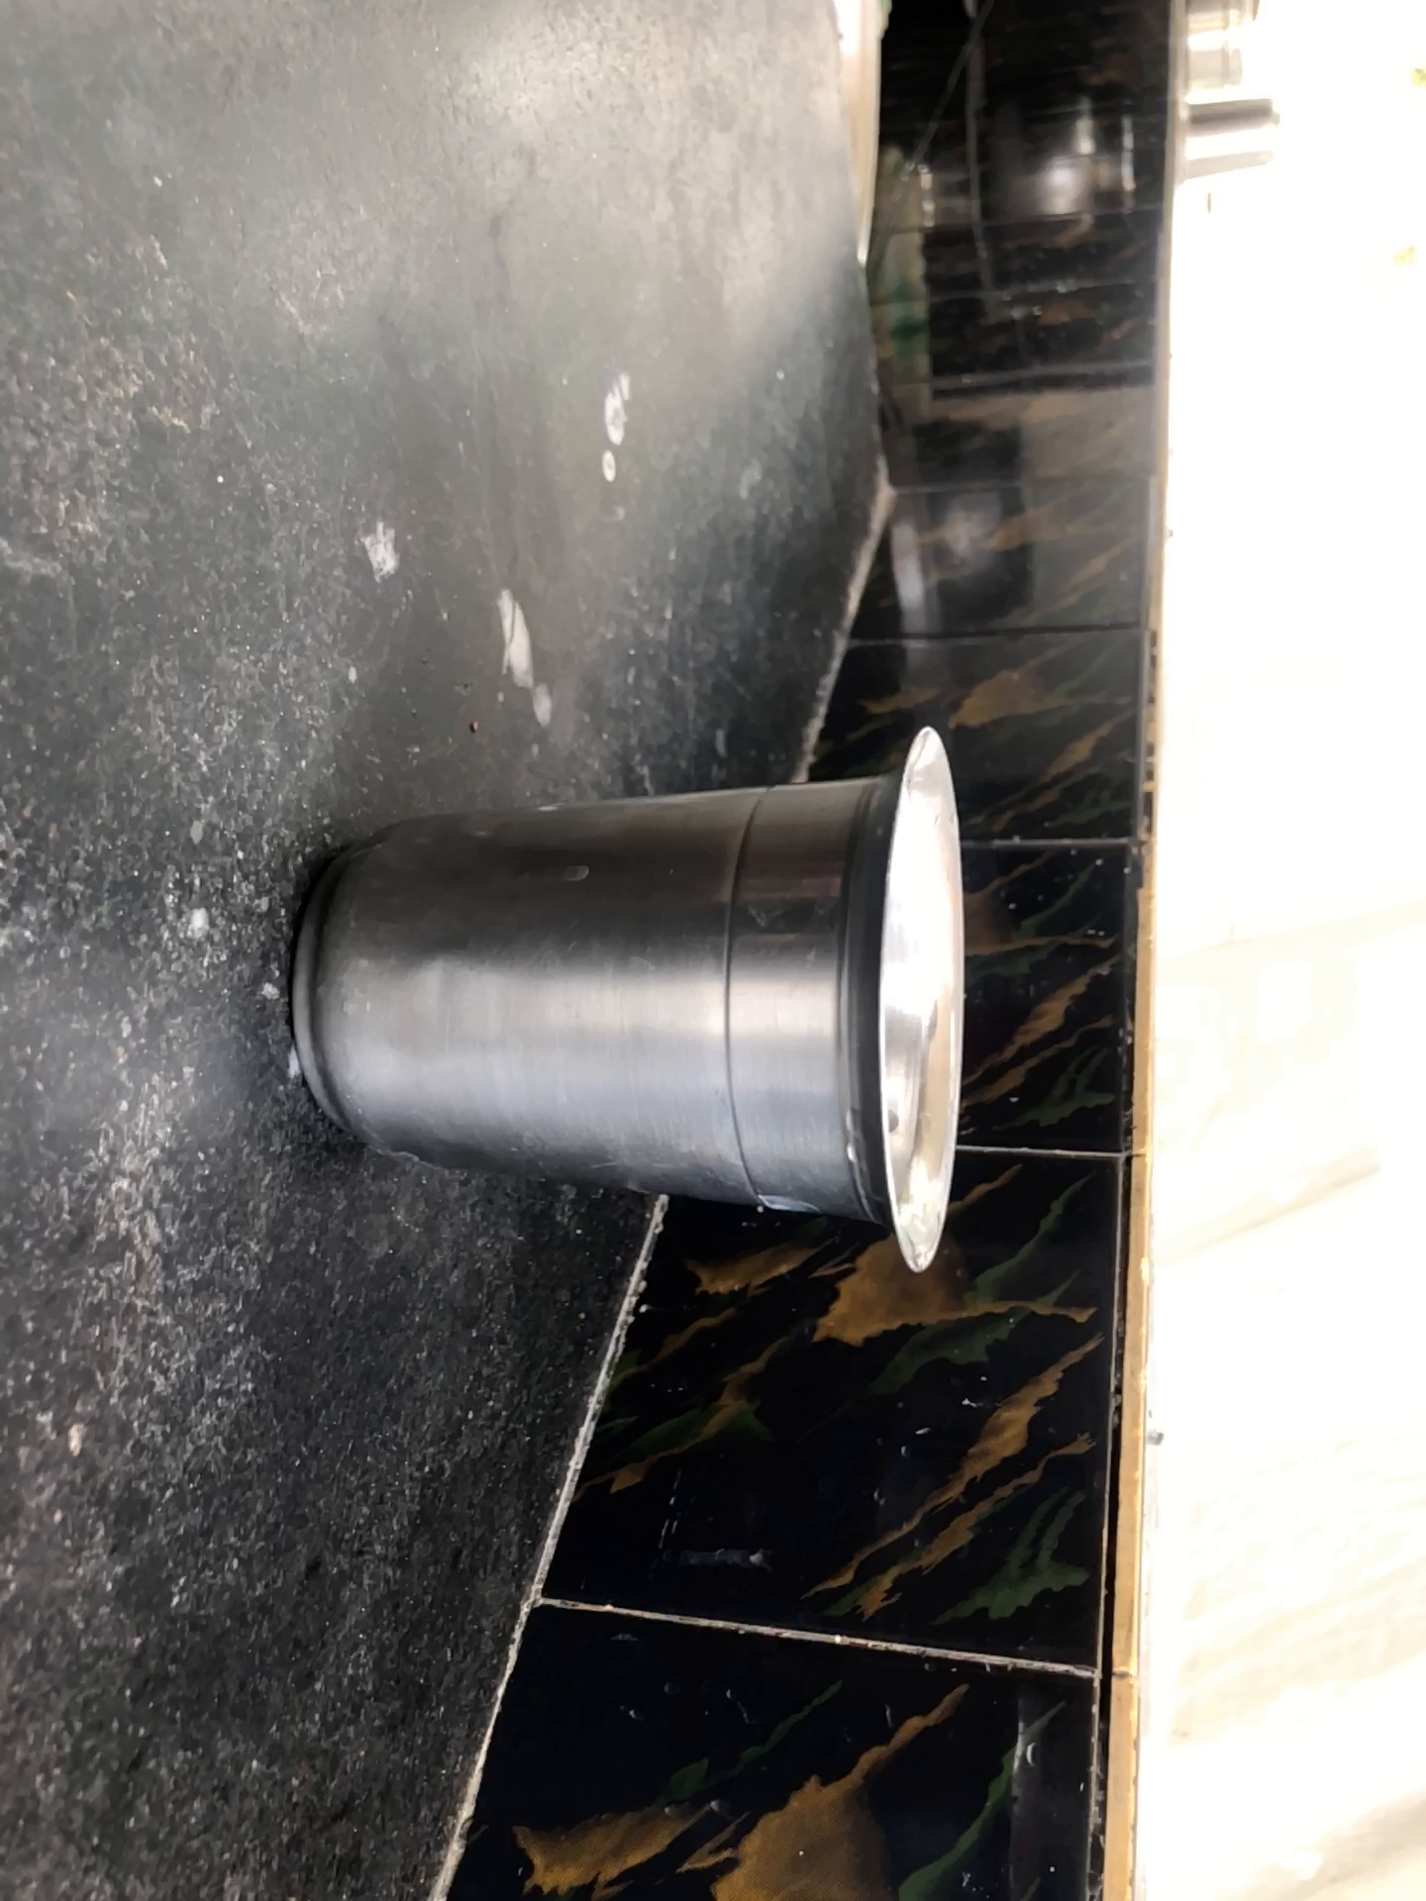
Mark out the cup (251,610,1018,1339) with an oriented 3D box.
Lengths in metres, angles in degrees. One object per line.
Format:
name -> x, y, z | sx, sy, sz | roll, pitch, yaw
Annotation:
cup -> -0.003, 0.007, 0.279 | 0.090, 0.100, 0.090 | 1, 90, -75
